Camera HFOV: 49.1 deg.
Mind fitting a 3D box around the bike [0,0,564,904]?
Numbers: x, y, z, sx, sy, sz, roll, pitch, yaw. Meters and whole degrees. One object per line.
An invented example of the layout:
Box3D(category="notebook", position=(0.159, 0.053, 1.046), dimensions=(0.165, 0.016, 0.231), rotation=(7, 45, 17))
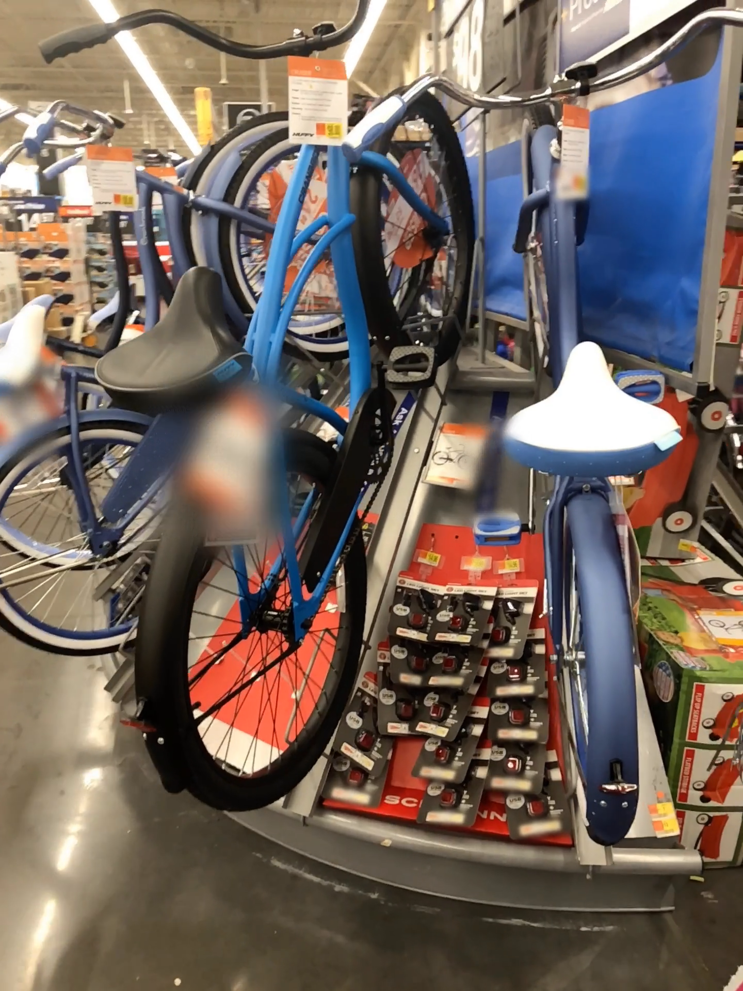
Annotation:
Box3D(category="bike", position=(-0.072, -0.709, 1.479), dimensions=(0.505, 1.119, 1.565), rotation=(6, 45, 21))
